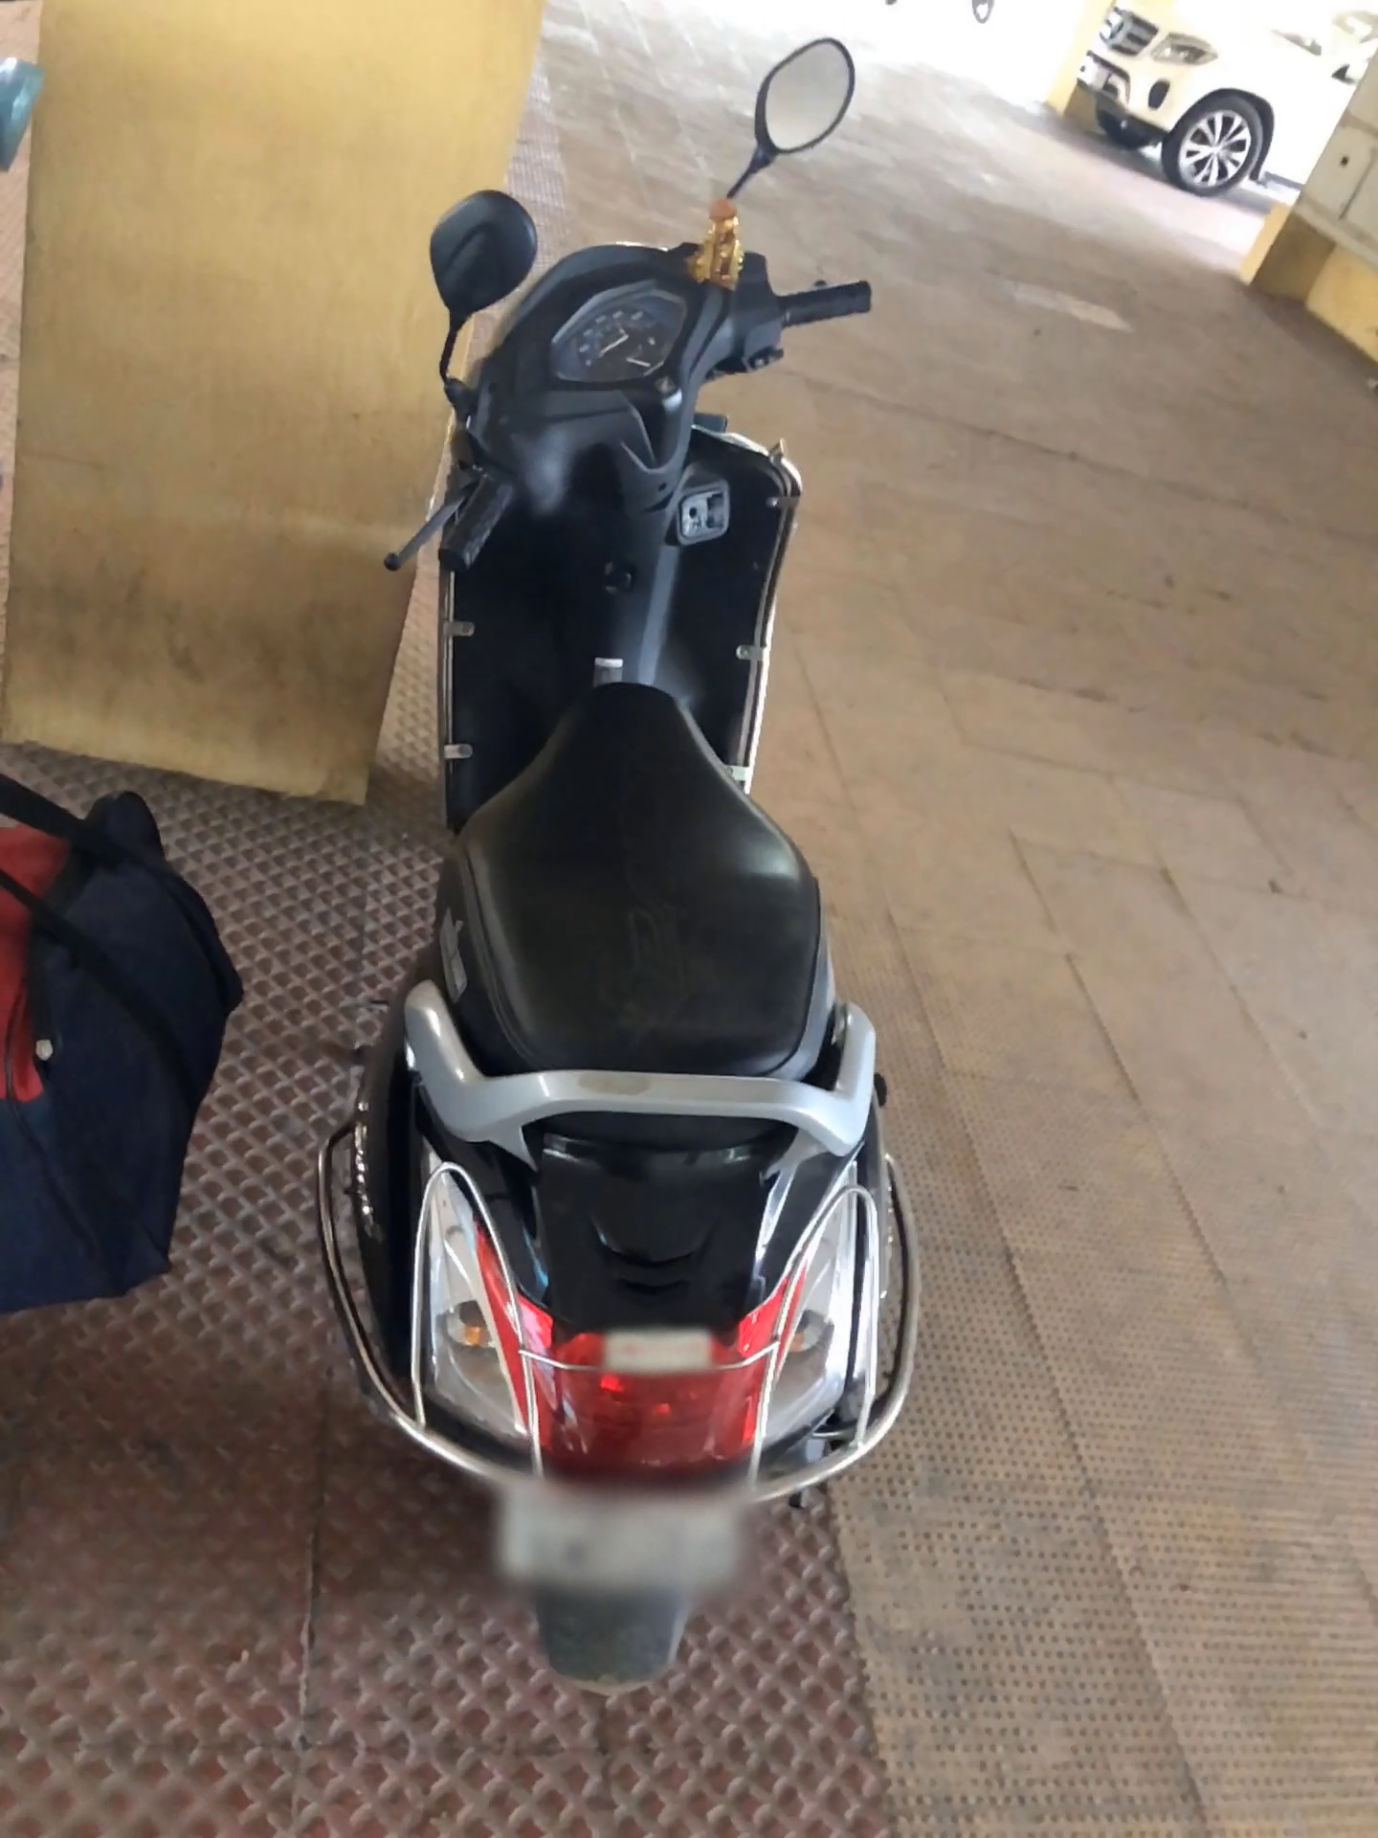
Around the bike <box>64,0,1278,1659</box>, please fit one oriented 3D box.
[{"bbox_3d":[-0.236,-0.246,1.673,0.621,0.882,1.667,8,39,-20],"label":"bike"}]
